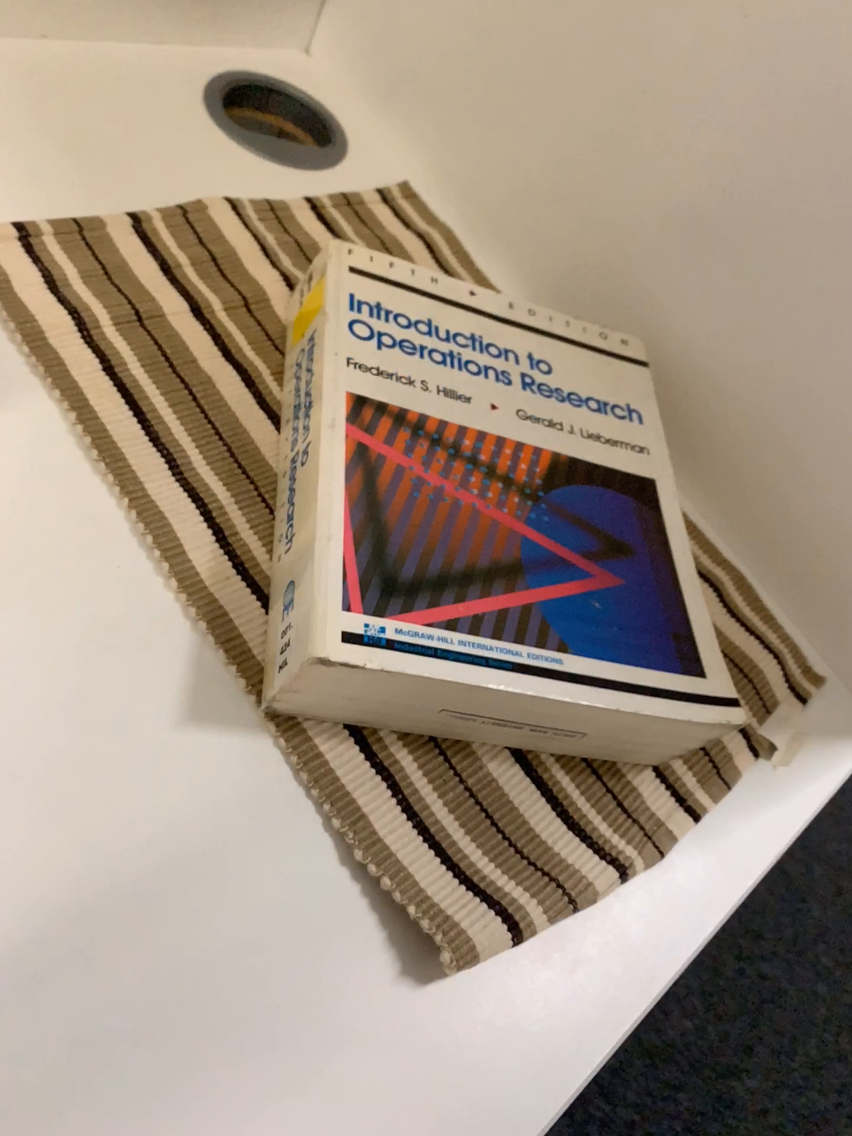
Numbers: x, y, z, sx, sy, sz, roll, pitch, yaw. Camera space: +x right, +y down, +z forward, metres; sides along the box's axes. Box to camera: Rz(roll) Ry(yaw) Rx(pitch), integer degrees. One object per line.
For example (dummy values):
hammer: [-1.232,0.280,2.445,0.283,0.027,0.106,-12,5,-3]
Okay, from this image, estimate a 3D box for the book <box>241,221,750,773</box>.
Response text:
book: [0.027,-0.038,0.411,0.196,0.052,0.235,13,52,-21]
